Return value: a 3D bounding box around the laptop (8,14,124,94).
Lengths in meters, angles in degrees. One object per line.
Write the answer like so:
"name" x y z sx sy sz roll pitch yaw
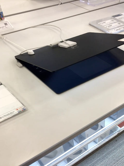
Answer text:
"laptop" 0.050 -0.111 0.518 0.313 0.085 0.216 -27 54 -23
